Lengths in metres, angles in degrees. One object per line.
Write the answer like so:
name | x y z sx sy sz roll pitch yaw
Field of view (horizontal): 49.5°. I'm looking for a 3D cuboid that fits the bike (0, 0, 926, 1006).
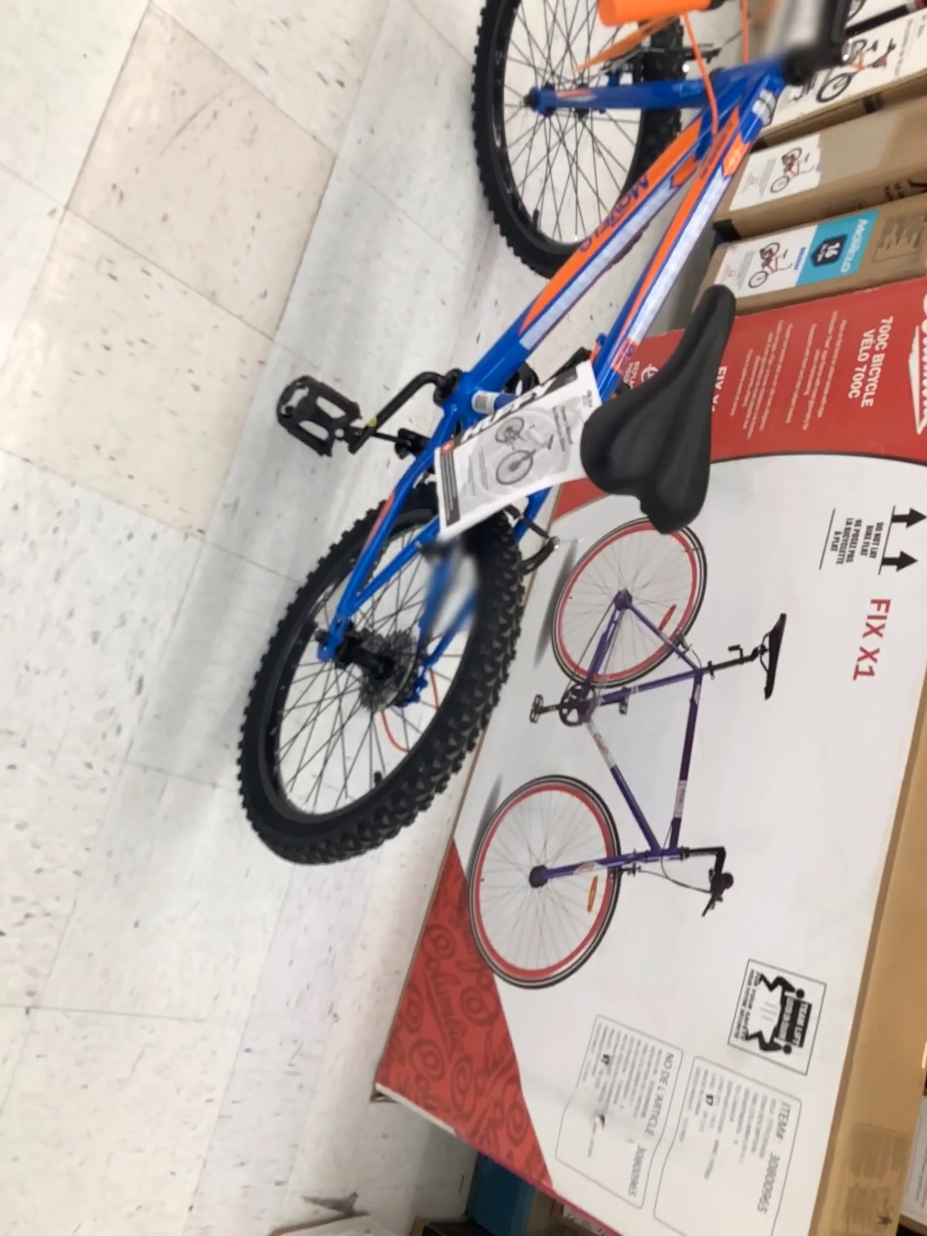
bike | 0.014 -0.392 1.238 0.586 0.870 1.315 26 69 -41
